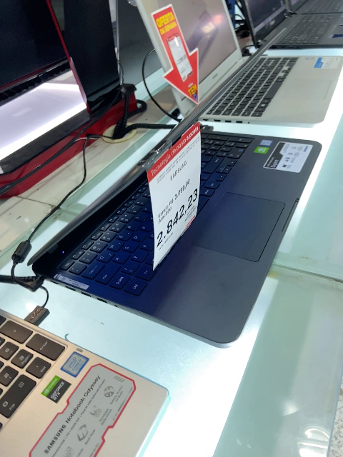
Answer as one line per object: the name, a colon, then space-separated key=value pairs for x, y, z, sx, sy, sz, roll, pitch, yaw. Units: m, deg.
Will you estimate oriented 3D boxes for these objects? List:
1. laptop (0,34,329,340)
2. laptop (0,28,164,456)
laptop: x=0.021 y=-0.099 z=0.415 sx=0.231 sy=0.146 sz=0.367 roll=13 pitch=43 yaw=26
laptop: x=-0.255 y=0.099 z=0.146 sx=0.331 sy=0.240 sz=0.370 roll=15 pitch=45 yaw=27
